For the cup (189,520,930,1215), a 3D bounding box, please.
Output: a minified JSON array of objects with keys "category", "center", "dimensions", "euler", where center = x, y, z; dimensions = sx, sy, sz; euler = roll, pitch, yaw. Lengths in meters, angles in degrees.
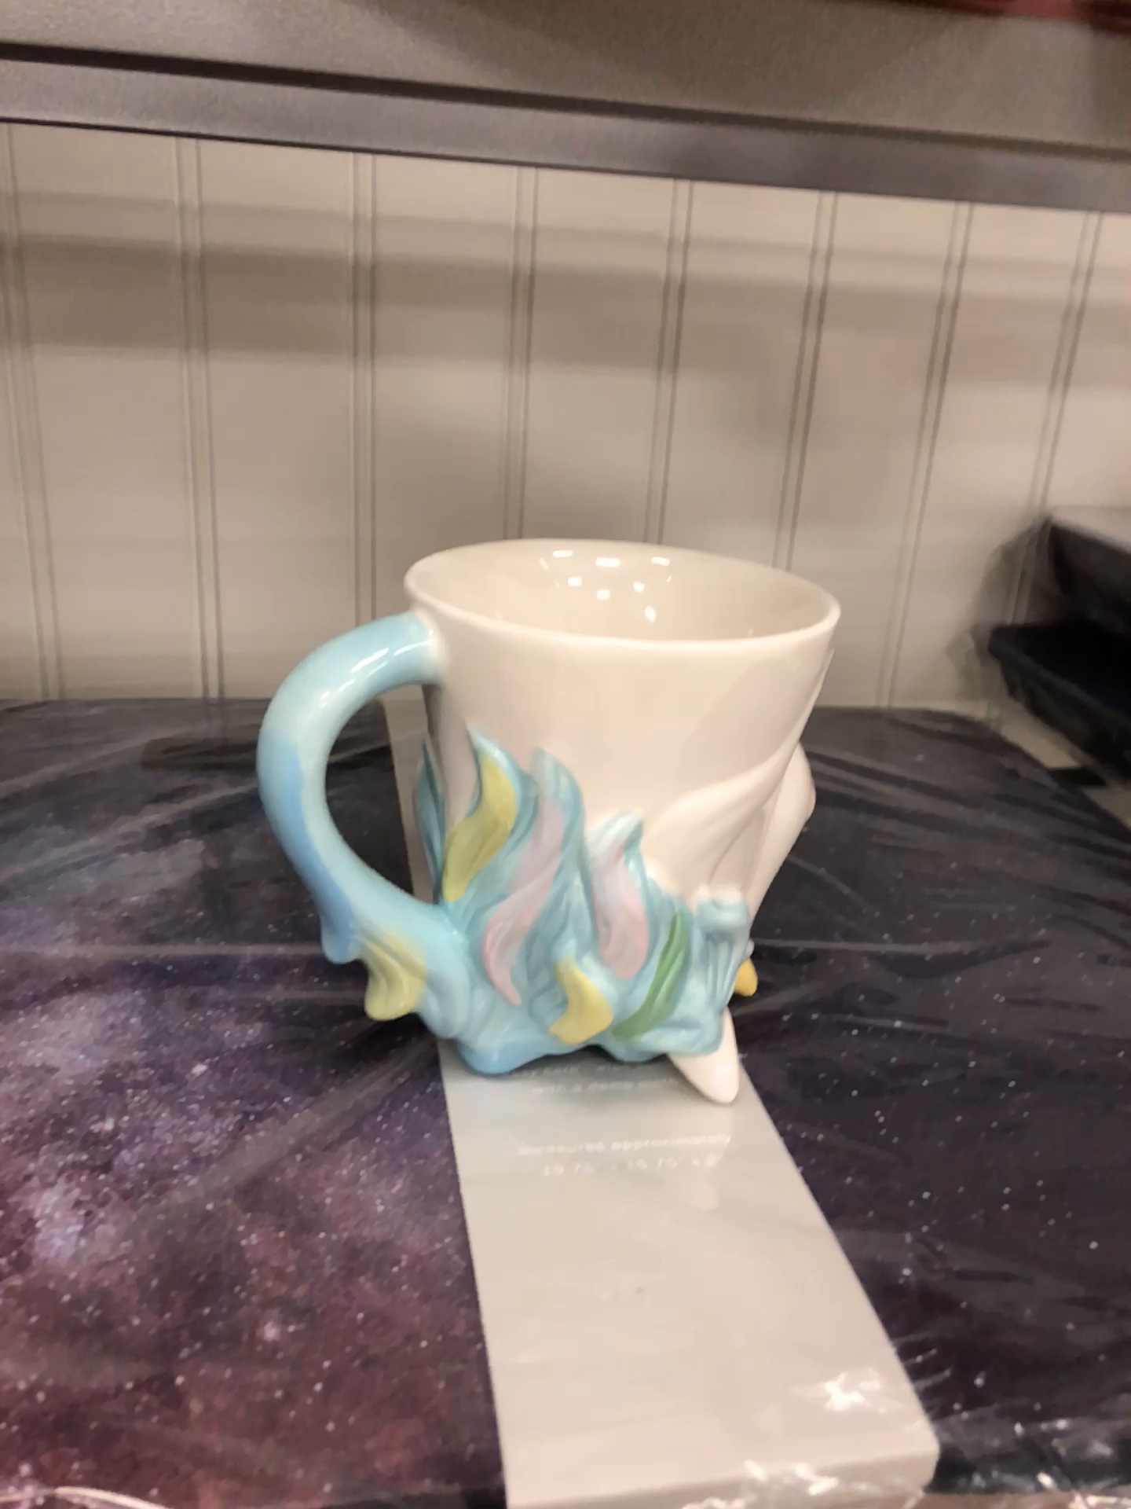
[{"category":"cup","center":[-0.010,0.014,0.304],"dimensions":[0.140,0.118,0.101],"euler":[-6,24,-22]}]
